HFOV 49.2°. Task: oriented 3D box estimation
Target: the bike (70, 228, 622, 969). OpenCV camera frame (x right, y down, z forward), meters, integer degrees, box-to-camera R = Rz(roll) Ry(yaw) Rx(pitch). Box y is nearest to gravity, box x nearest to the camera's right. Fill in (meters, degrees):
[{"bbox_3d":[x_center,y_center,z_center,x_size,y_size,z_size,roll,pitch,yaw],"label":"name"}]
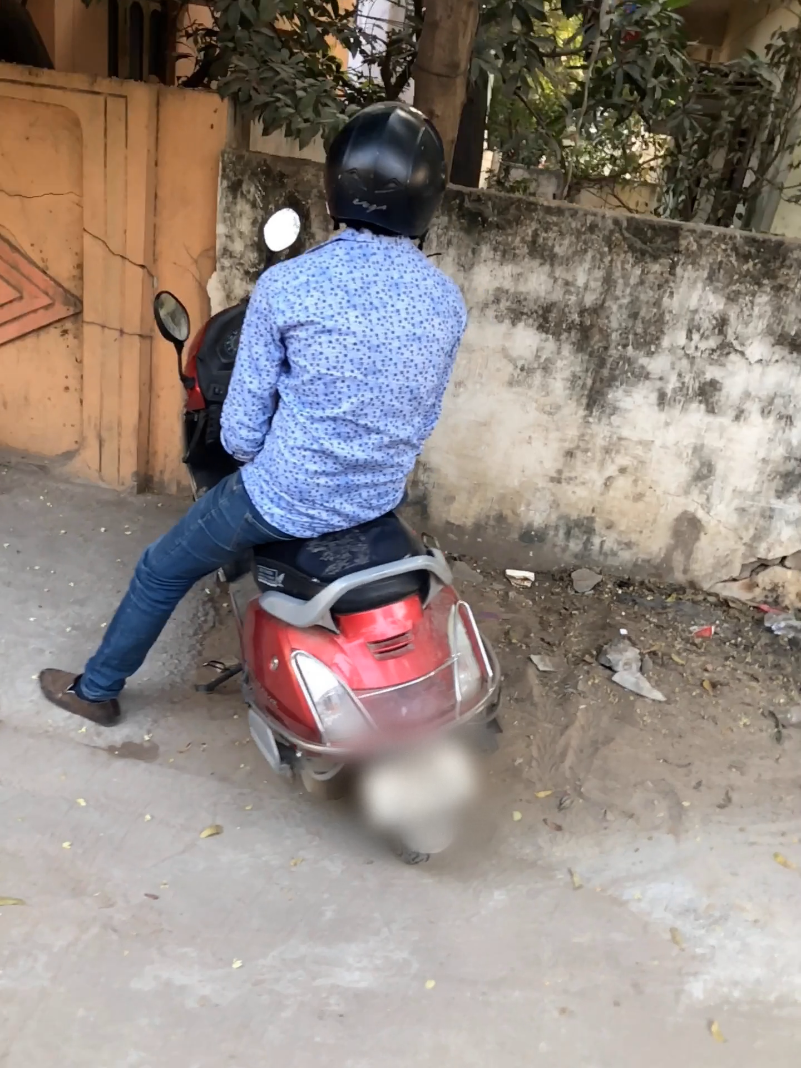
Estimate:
[{"bbox_3d":[-0.339,-0.005,2.298,0.723,1.166,1.507,-5,29,-29],"label":"bike"}]
